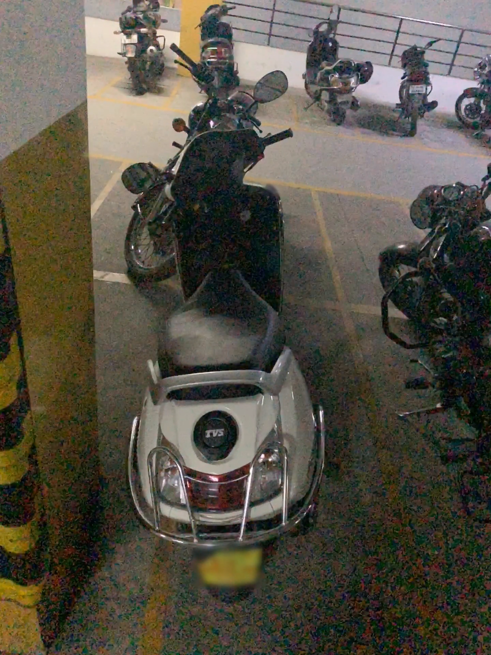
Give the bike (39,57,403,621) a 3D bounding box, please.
[{"bbox_3d":[-0.131,-0.091,1.798,0.647,1.159,1.539,6,38,-6],"label":"bike"}]
